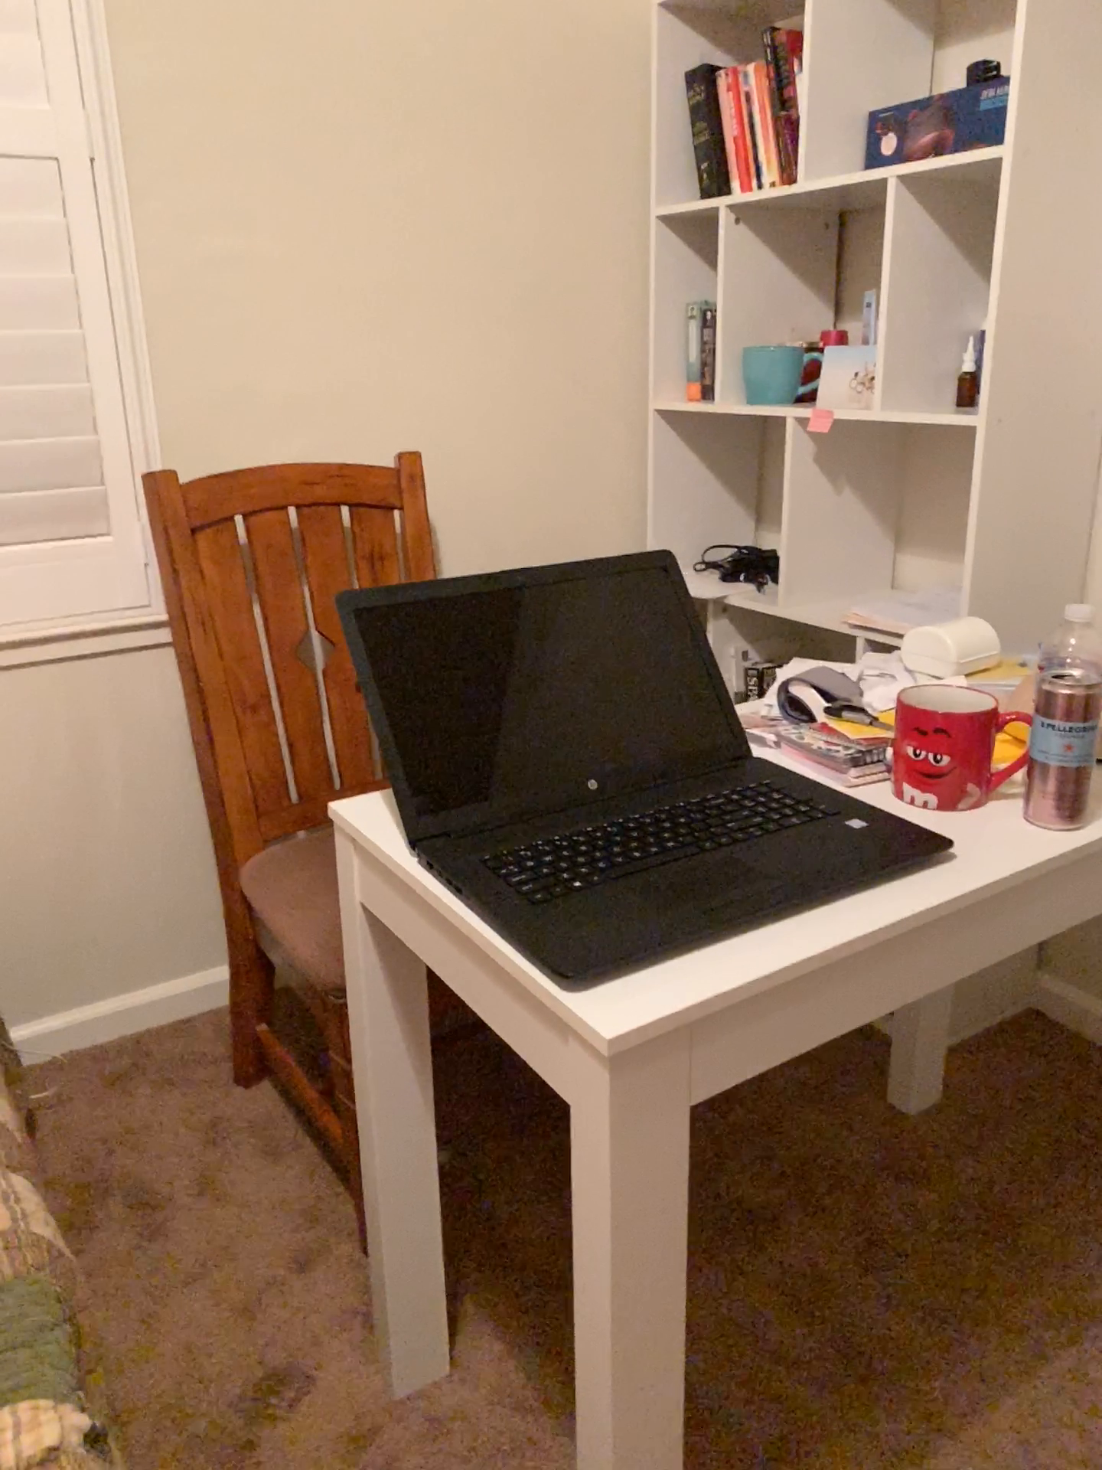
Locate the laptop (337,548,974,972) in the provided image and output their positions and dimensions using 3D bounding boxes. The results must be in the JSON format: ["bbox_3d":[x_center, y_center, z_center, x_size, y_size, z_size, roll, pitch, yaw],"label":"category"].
[{"bbox_3d":[0.075,-0.021,1.038,0.401,0.197,0.417,-12,22,-29],"label":"laptop"}]
